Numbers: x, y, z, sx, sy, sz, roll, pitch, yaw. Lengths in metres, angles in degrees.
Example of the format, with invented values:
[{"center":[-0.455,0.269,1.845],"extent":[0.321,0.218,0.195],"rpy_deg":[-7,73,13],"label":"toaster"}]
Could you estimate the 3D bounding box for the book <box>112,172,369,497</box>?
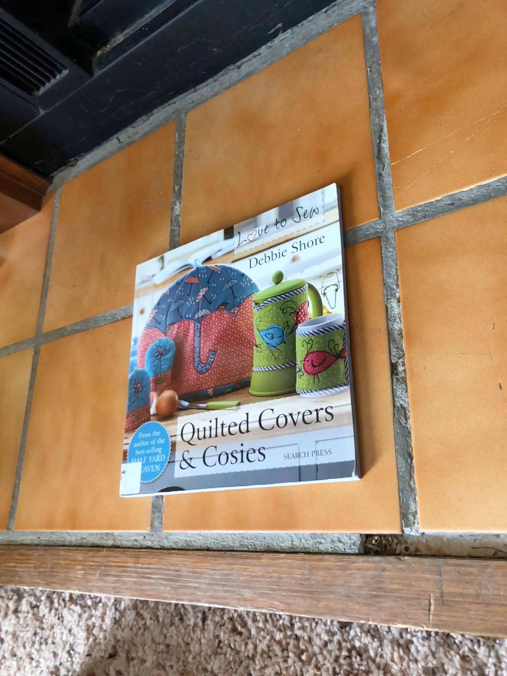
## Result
[{"center":[-0.024,0.006,0.445],"extent":[0.225,0.015,0.219],"rpy_deg":[-15,66,34],"label":"book"}]
